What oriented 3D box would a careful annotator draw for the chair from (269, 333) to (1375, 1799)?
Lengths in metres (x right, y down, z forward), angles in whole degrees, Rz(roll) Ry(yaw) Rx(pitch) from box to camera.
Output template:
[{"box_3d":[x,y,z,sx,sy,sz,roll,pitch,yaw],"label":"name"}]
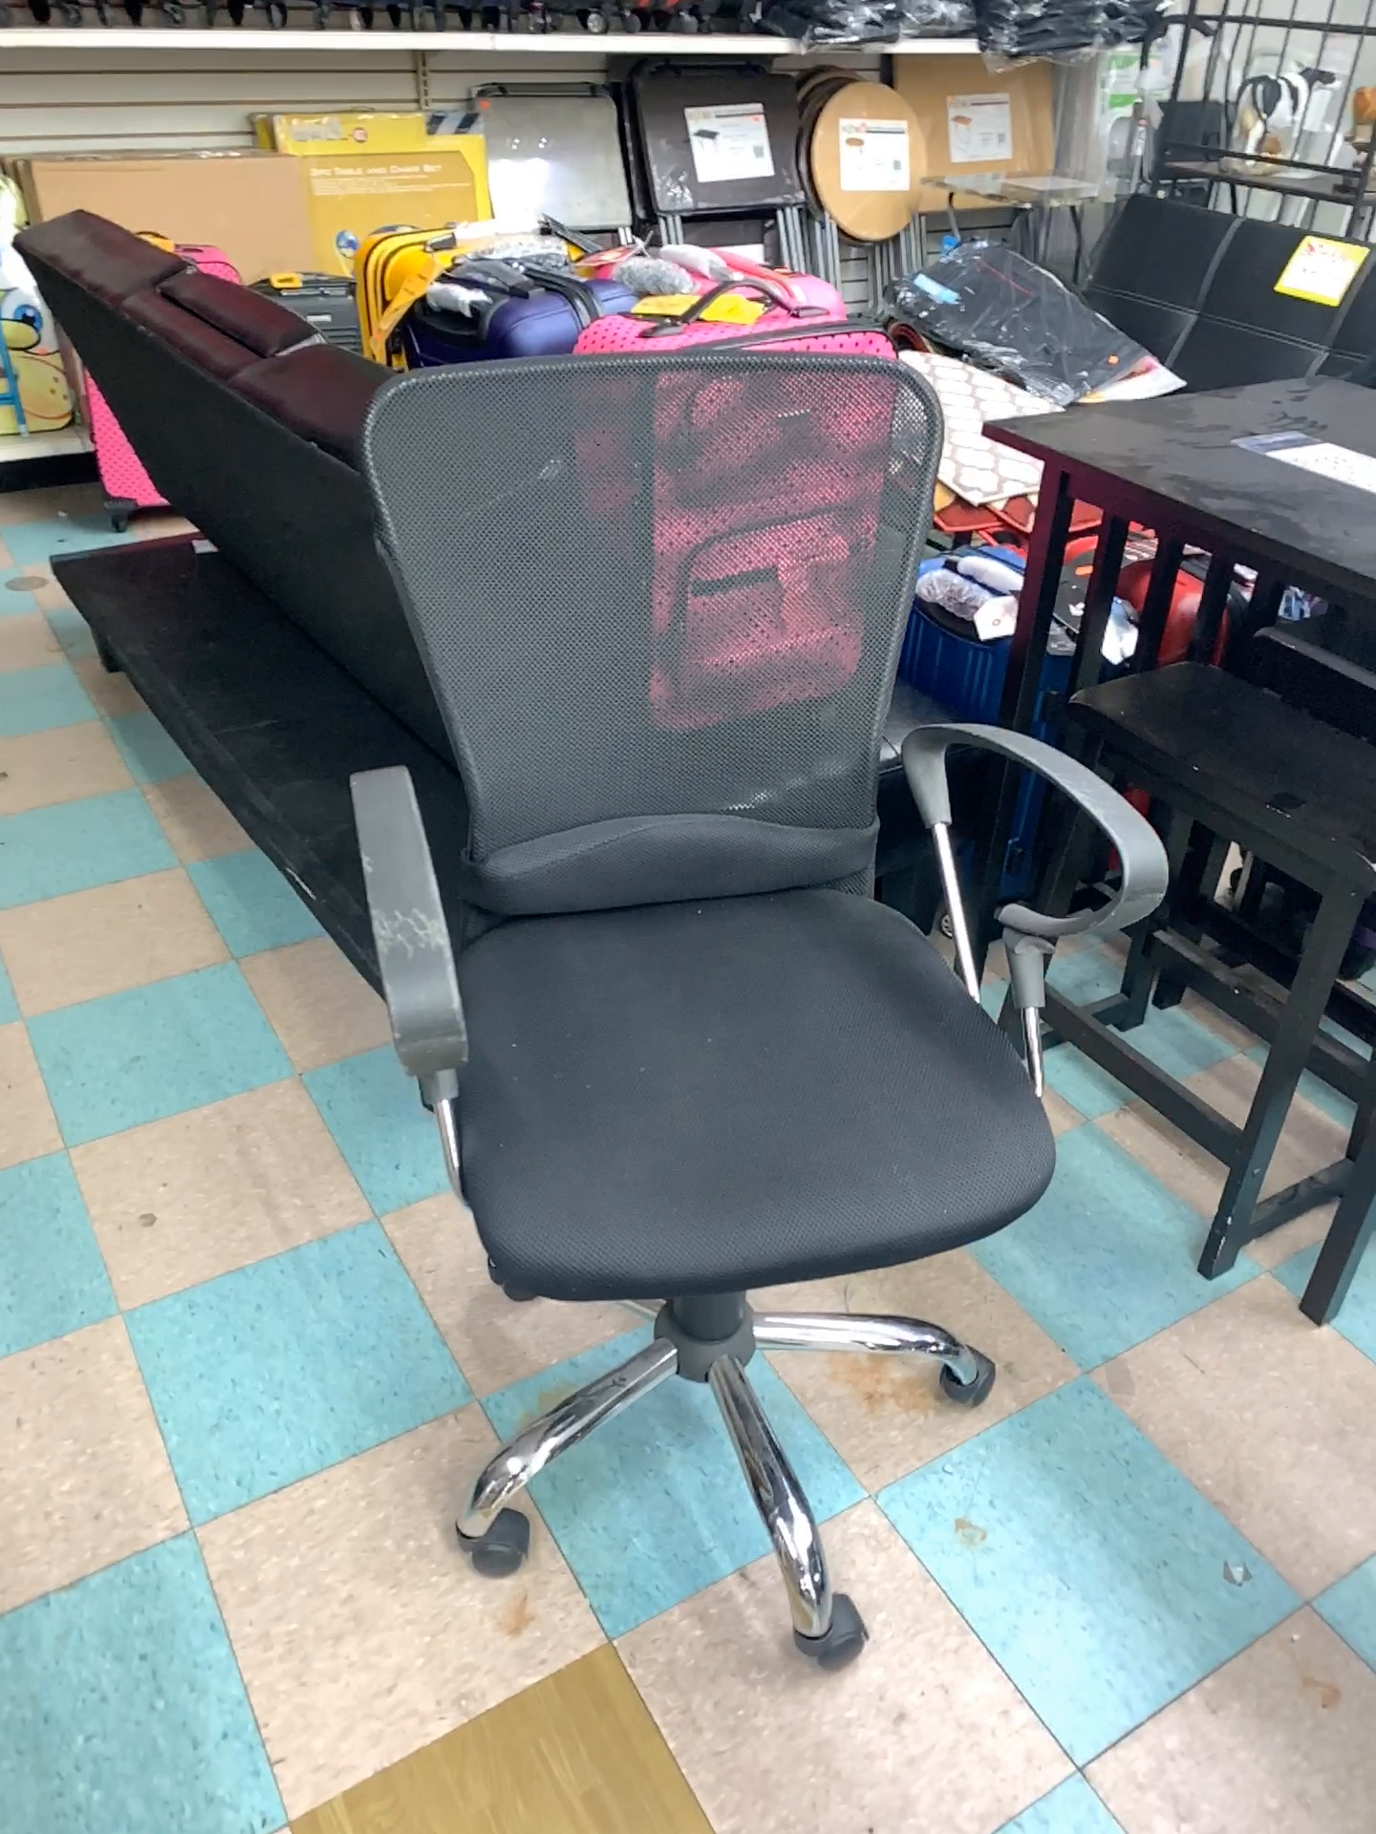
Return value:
[{"box_3d":[0.036,0.113,1.191,0.620,1.019,0.603,-7,35,-14],"label":"chair"}]
